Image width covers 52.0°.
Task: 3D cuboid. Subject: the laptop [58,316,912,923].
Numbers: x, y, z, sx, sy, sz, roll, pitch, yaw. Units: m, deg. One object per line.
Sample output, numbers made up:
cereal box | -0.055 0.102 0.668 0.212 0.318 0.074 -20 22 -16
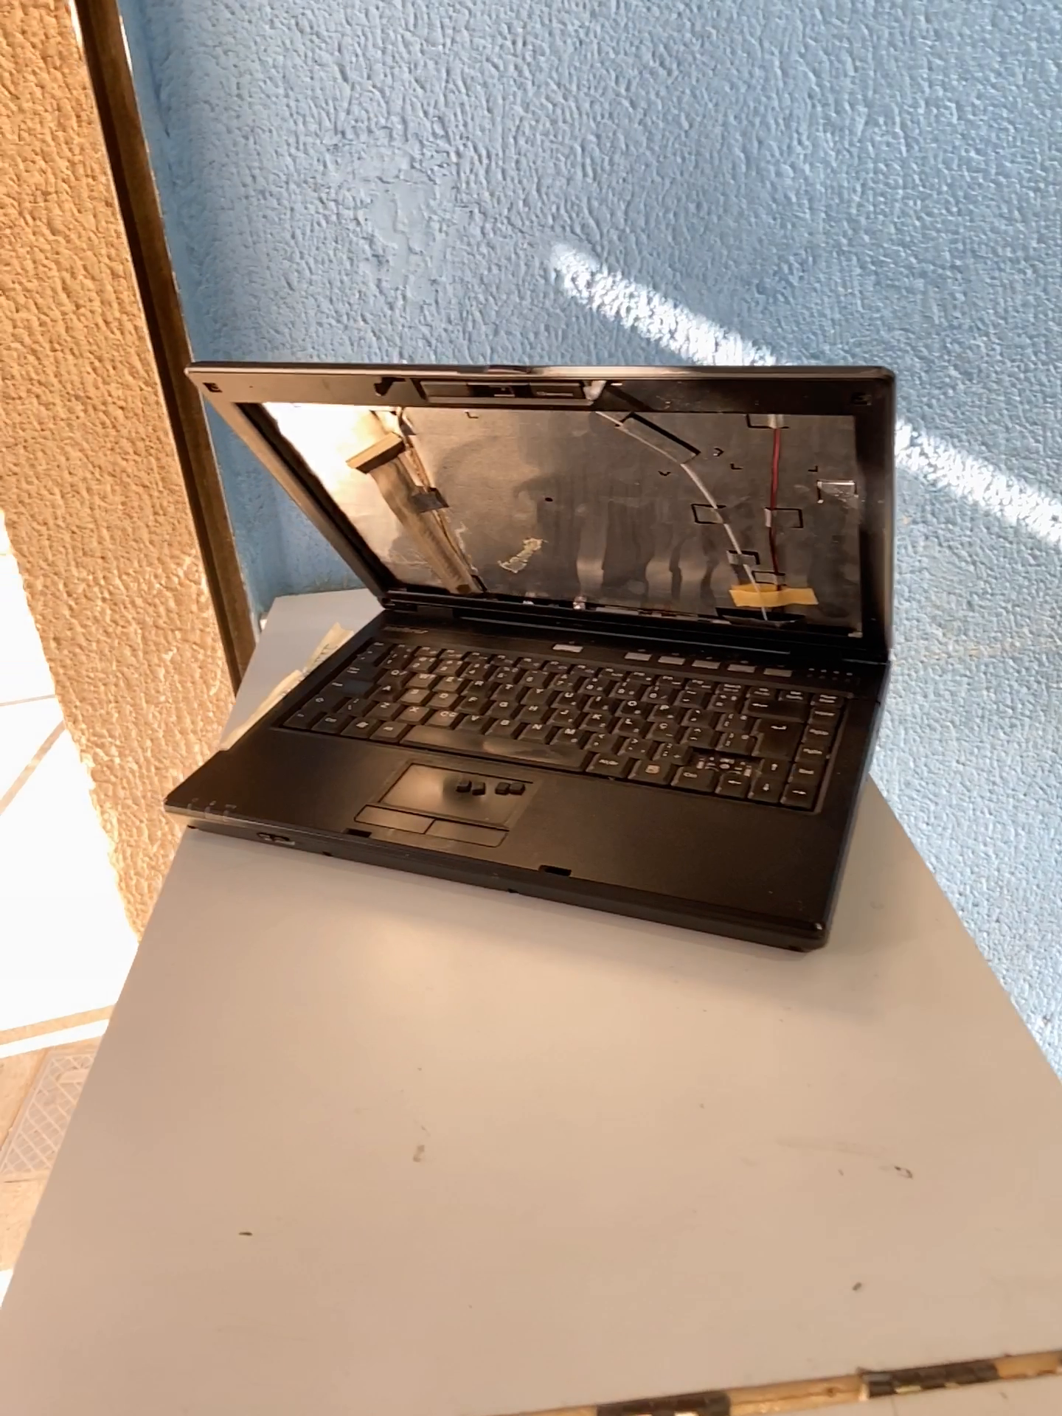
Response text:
laptop | 0.000 -0.073 0.543 0.322 0.191 0.232 8 31 21
